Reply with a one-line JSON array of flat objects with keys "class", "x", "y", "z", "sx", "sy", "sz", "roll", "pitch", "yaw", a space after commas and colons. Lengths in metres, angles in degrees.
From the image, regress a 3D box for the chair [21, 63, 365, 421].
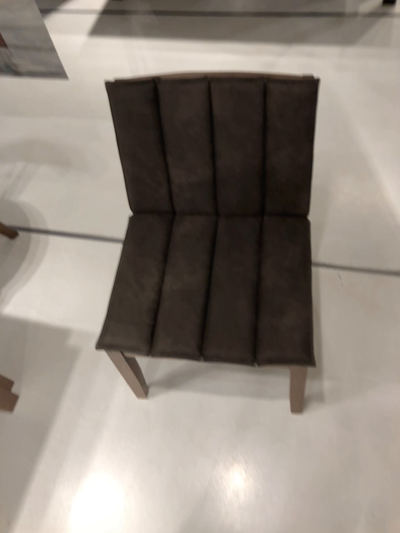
[{"class": "chair", "x": 0.057, "y": 0.006, "z": 1.150, "sx": 0.540, "sy": 0.777, "sz": 0.572, "roll": 3, "pitch": 62, "yaw": 10}]
